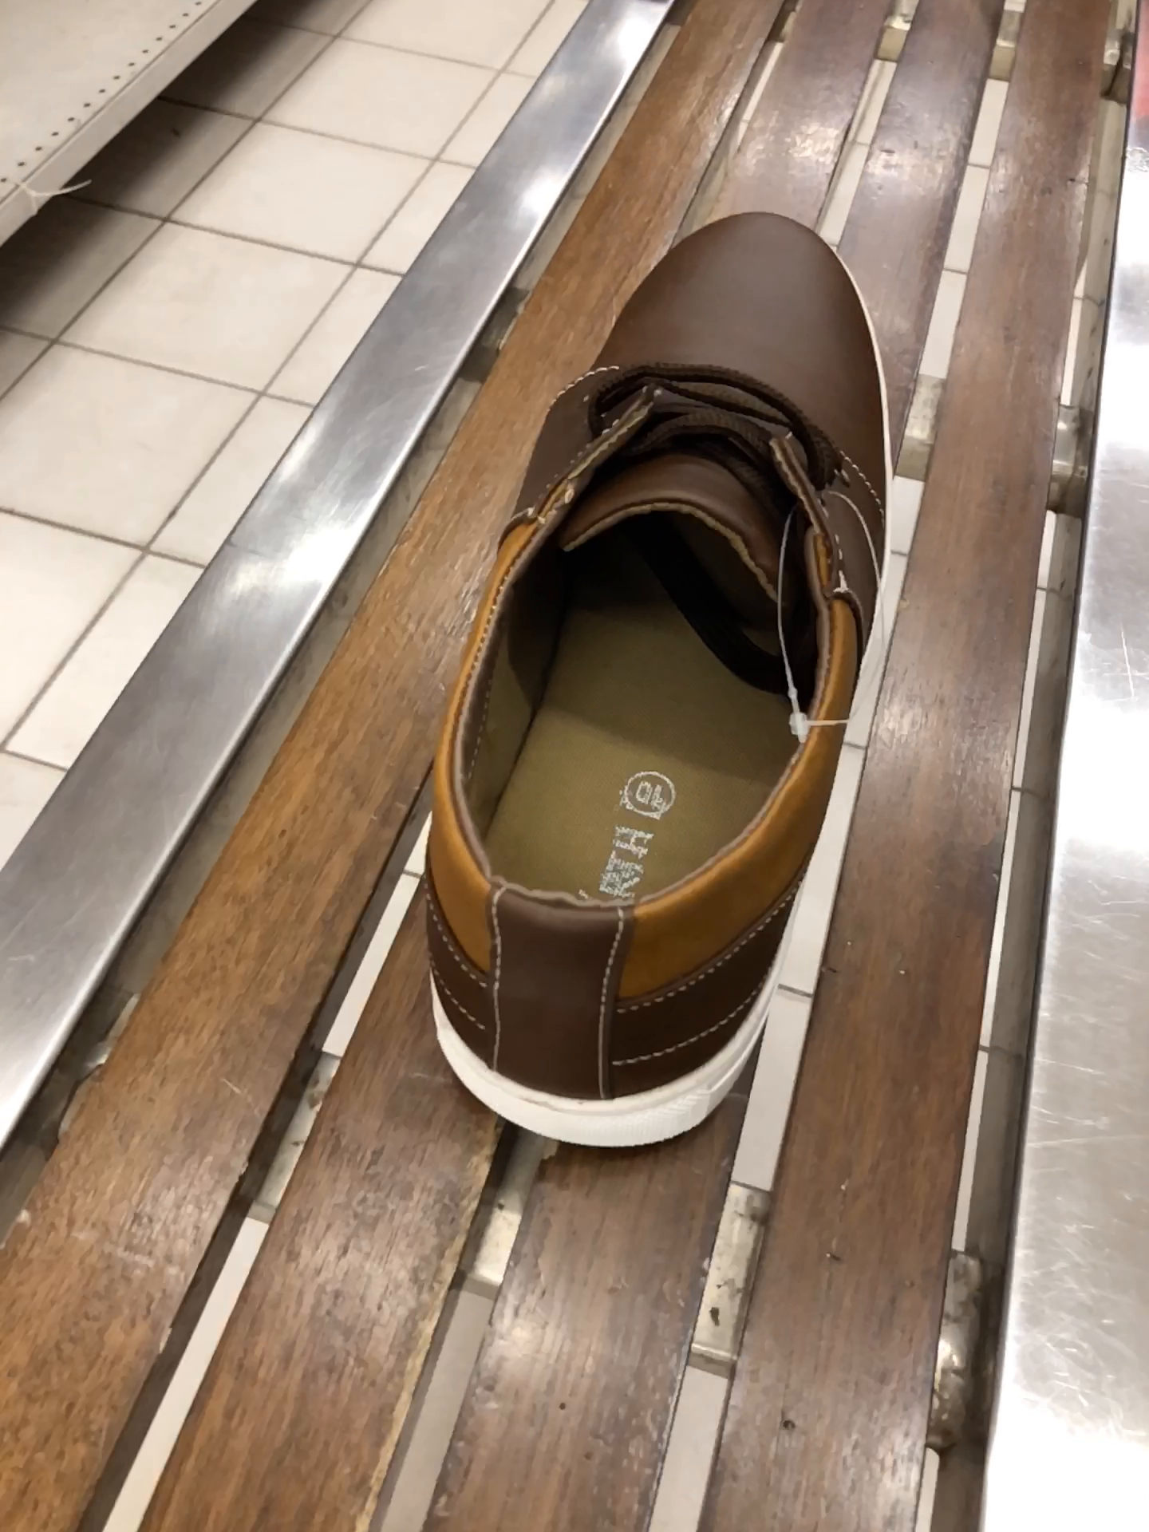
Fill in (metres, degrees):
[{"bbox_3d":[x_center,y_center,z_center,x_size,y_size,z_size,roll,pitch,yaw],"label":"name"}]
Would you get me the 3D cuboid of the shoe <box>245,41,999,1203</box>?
[{"bbox_3d":[0.034,-0.066,0.326,0.100,0.080,0.312,14,55,8],"label":"shoe"}]
